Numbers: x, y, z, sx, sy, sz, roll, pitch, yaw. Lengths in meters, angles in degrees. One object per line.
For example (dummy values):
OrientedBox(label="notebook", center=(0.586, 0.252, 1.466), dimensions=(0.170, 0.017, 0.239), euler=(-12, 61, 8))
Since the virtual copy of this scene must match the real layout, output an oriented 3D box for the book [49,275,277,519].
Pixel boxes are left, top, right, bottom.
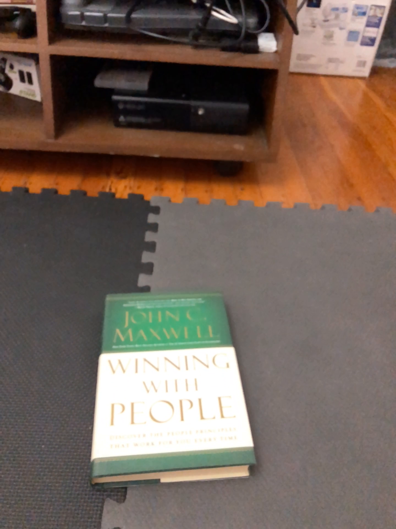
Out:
OrientedBox(label="book", center=(-0.041, 0.122, 0.508), dimensions=(0.200, 0.030, 0.292), euler=(0, 41, -6))
